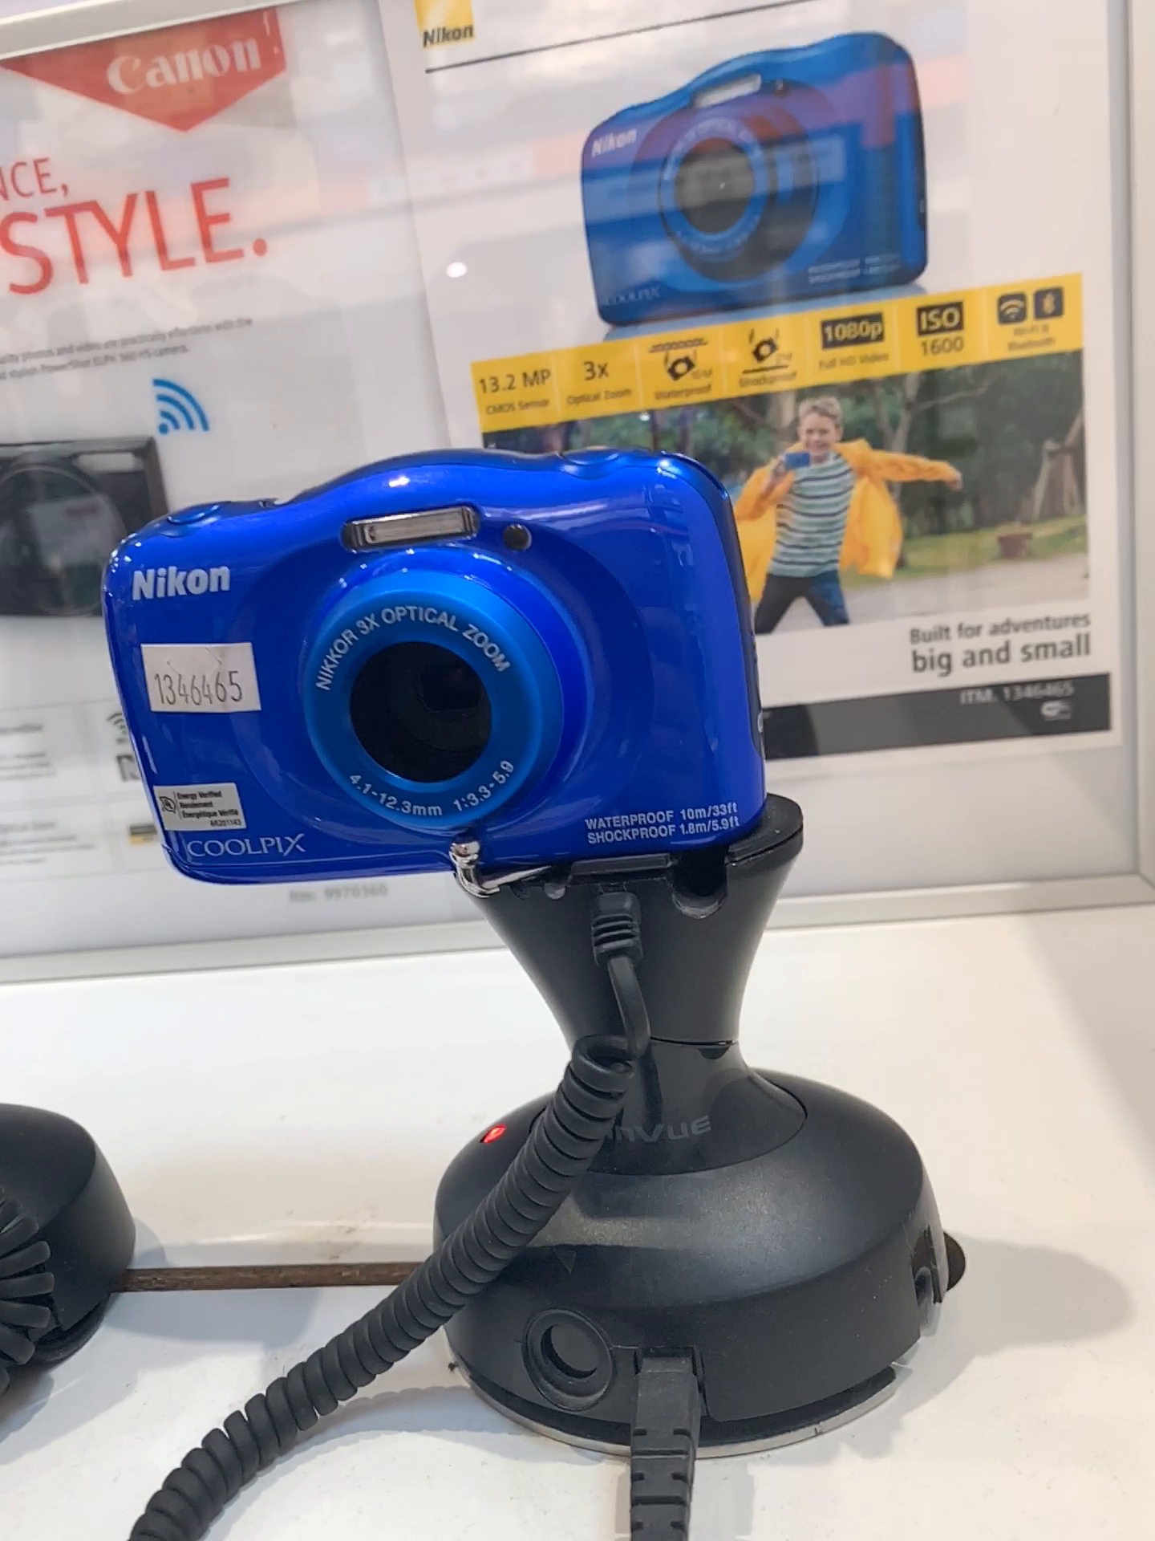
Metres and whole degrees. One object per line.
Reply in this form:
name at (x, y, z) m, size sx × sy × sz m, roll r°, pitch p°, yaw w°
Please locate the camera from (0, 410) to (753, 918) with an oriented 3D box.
camera at (-0.026, -0.018, 0.192) m, size 0.101 × 0.063 × 0.046 m, roll -5°, pitch 16°, yaw 11°
